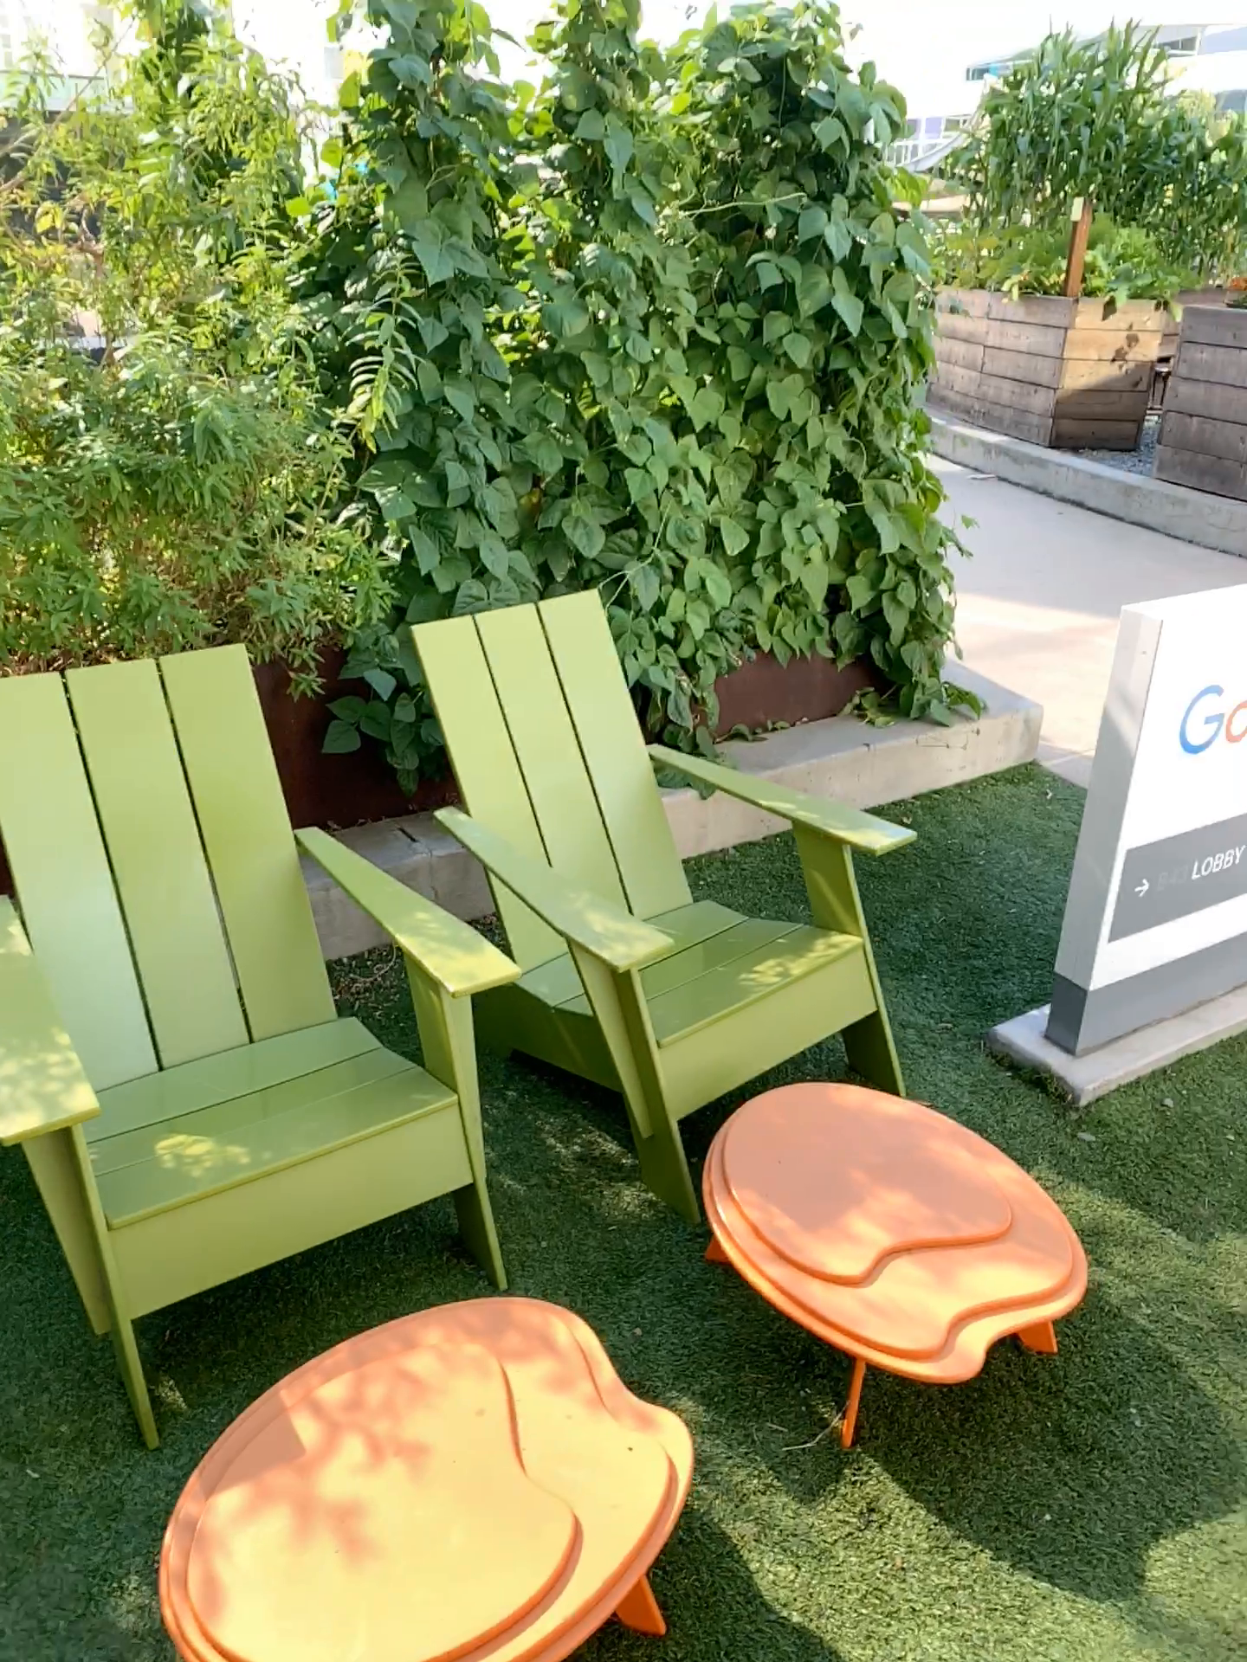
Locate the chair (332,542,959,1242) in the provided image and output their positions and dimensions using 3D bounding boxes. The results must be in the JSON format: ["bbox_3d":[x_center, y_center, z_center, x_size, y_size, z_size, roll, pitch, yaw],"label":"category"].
[{"bbox_3d":[0.034,0.039,2.472,0.731,1.017,0.822,-18,15,-31],"label":"chair"}]

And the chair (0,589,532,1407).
[{"bbox_3d":[-0.756,0.160,2.159,0.771,1.007,0.822,-15,14,-29],"label":"chair"}]
